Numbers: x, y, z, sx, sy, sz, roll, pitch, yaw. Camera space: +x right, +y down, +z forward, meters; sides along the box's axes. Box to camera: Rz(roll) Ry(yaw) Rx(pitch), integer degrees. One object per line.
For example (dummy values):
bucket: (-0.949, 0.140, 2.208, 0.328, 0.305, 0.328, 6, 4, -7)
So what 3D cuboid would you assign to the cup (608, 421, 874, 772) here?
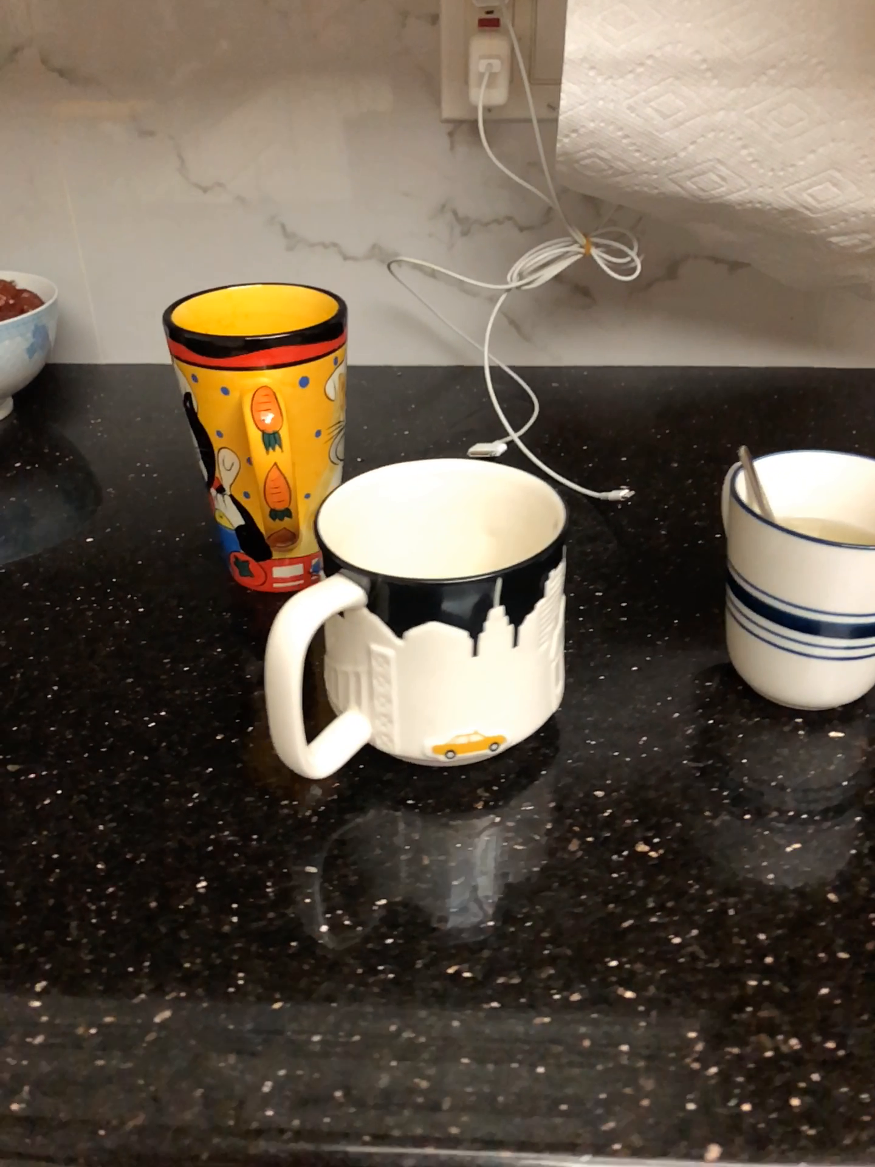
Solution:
cup: (0.164, -0.003, 0.441, 0.100, 0.080, 0.141, -16, 35, -23)

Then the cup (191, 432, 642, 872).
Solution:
cup: (-0.007, 0.018, 0.406, 0.140, 0.099, 0.110, -26, 40, -34)

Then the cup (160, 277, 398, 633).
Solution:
cup: (-0.083, -0.072, 0.495, 0.090, 0.129, 0.131, -10, 33, -14)
